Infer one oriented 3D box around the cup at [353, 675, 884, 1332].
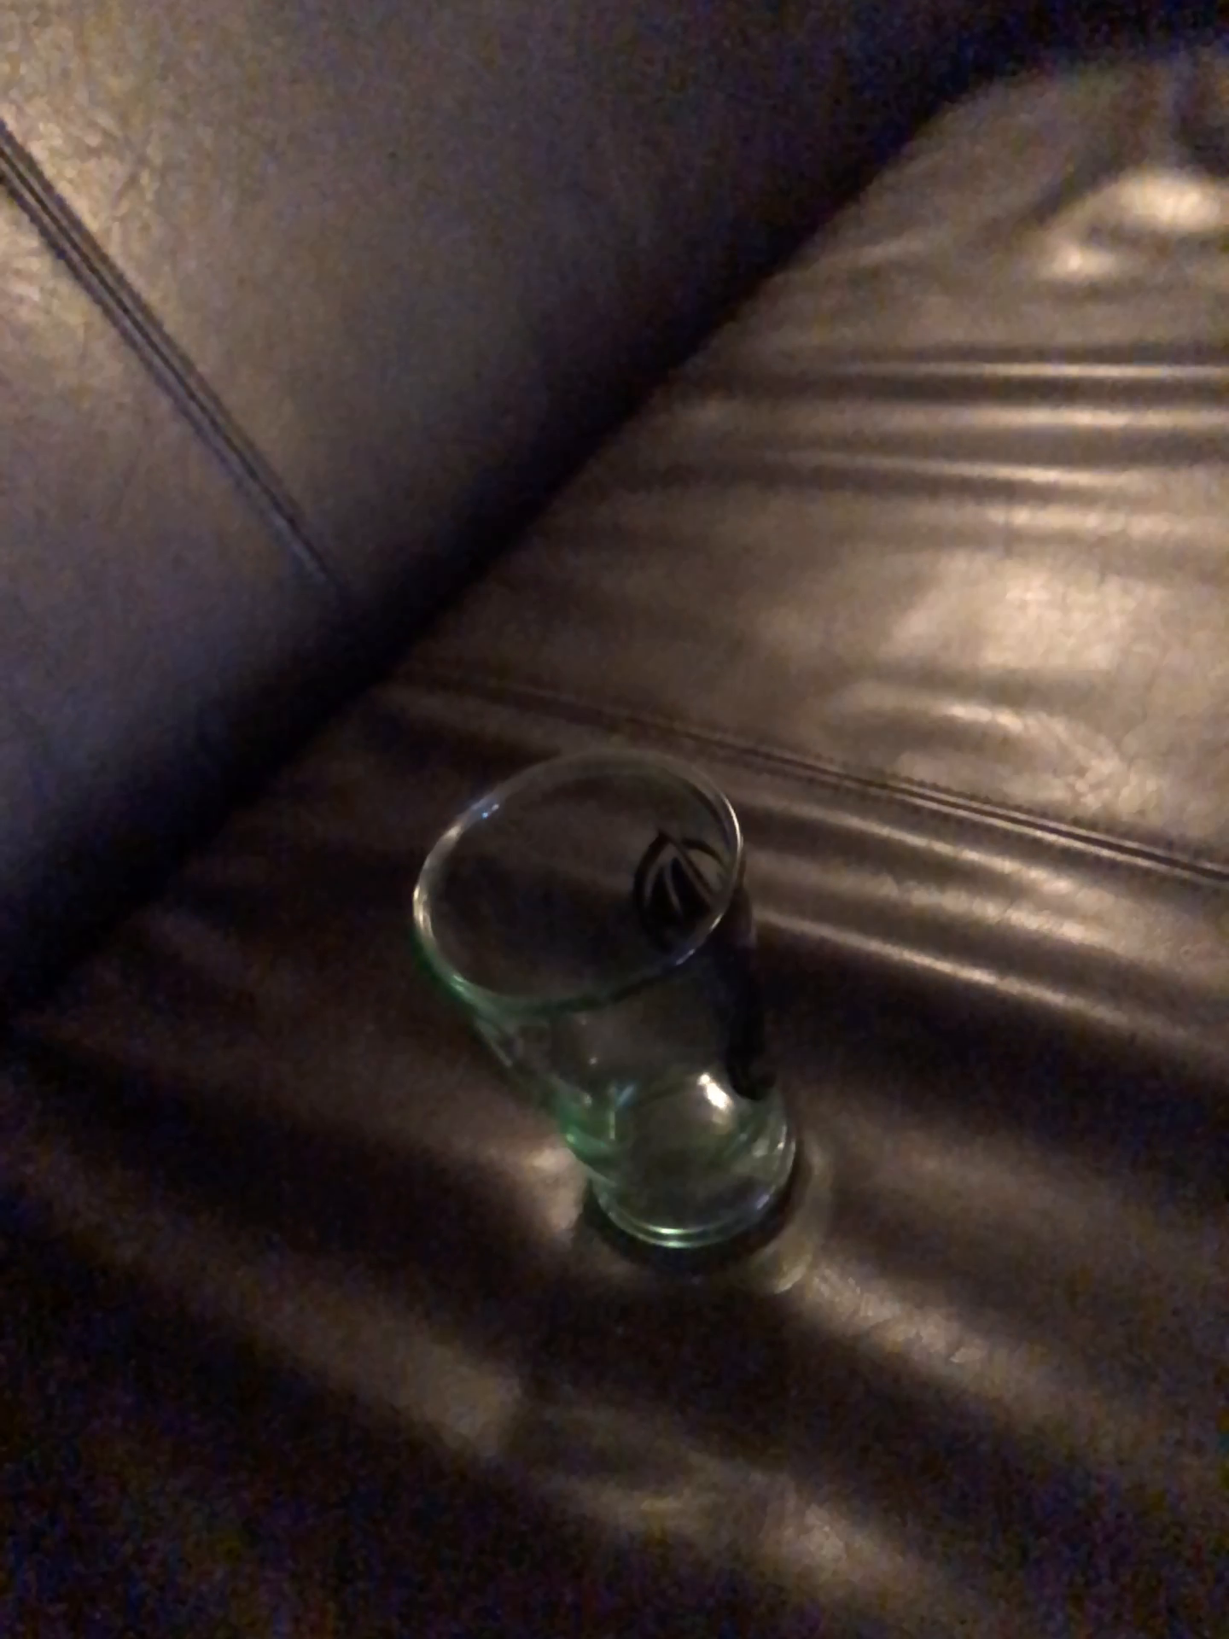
[{"bbox_3d":[0.003,0.047,0.341,0.087,0.117,0.085,-10,43,10],"label":"cup"}]
